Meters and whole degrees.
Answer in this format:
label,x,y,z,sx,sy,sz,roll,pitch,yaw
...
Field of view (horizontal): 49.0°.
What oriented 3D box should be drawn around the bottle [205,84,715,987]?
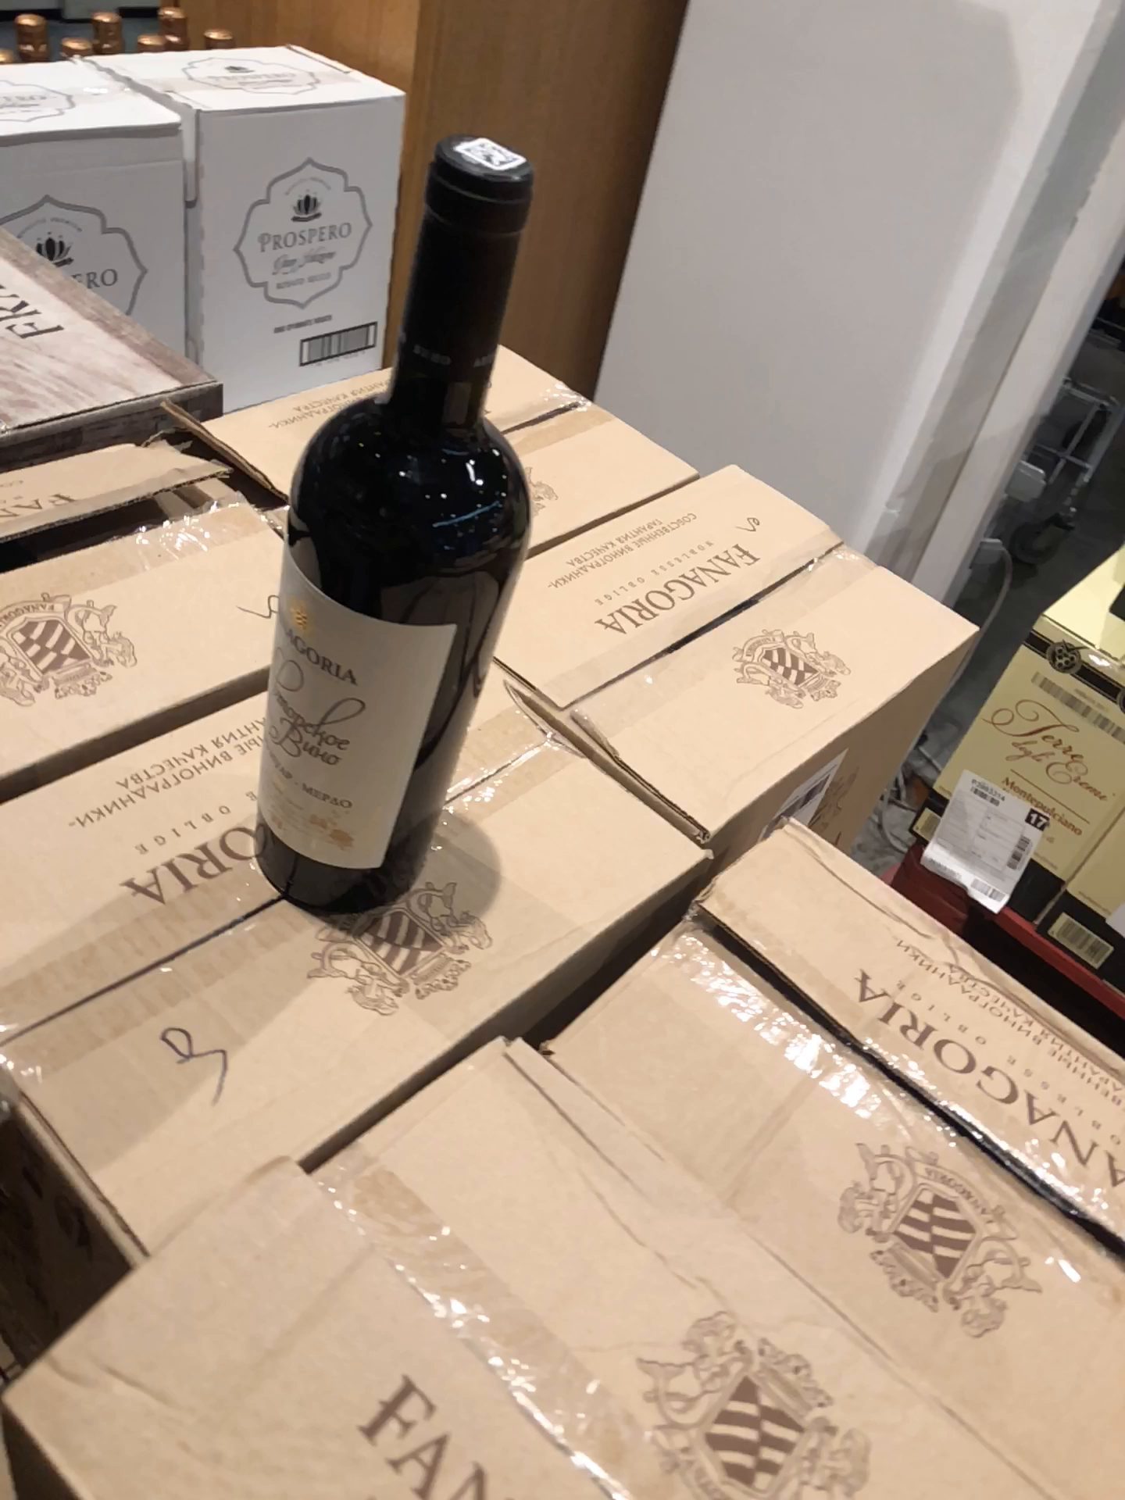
label,x,y,z,sx,sy,sz,roll,pitch,yaw
bottle,-0.057,-0.059,0.451,0.090,0.308,0.100,-24,56,-37
